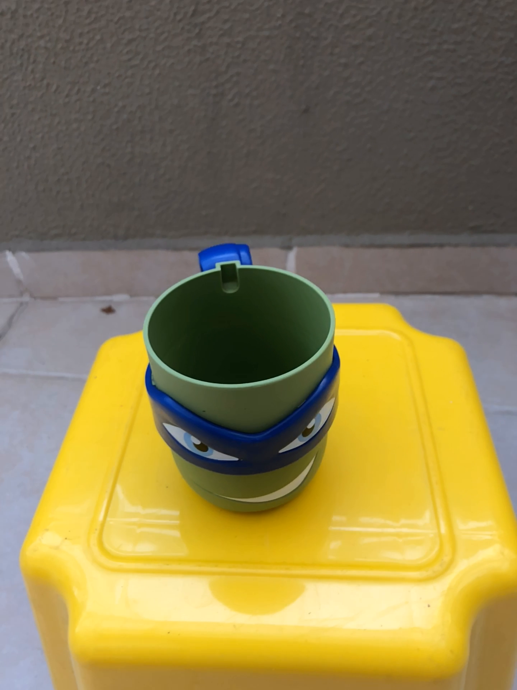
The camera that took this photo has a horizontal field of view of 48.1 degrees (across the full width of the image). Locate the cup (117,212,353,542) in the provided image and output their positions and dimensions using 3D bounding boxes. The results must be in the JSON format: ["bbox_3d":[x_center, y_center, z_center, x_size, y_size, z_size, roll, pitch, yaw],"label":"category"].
[{"bbox_3d":[-0.011,0.011,0.265,0.080,0.089,0.111,-7,41,-3],"label":"cup"}]
